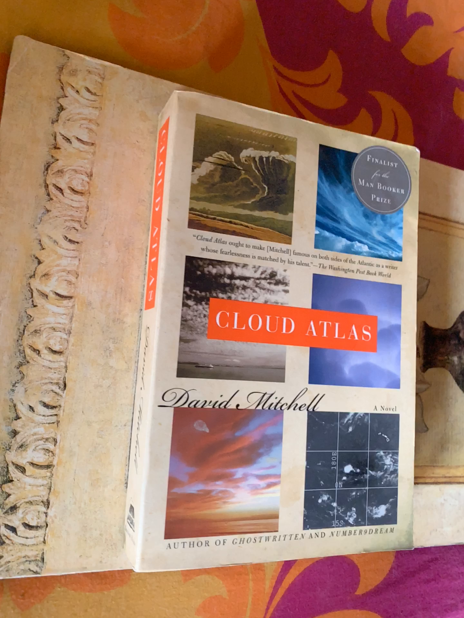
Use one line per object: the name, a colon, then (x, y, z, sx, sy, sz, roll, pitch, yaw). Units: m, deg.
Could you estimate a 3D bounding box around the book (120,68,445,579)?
book: (0.027, 0.008, 0.217, 0.130, 0.040, 0.190, 6, 82, -17)
